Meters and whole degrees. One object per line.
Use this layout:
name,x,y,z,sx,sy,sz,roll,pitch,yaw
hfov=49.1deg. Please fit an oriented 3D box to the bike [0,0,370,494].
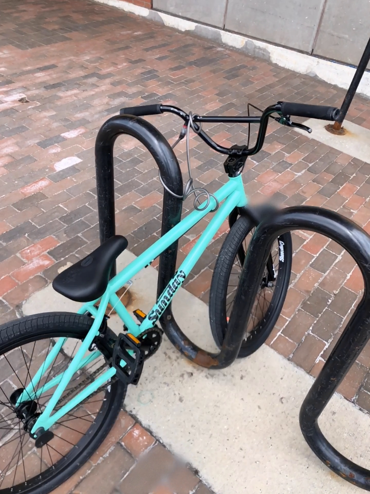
bike,-0.100,0.068,1.183,1.468,1.067,0.811,-32,54,-33
